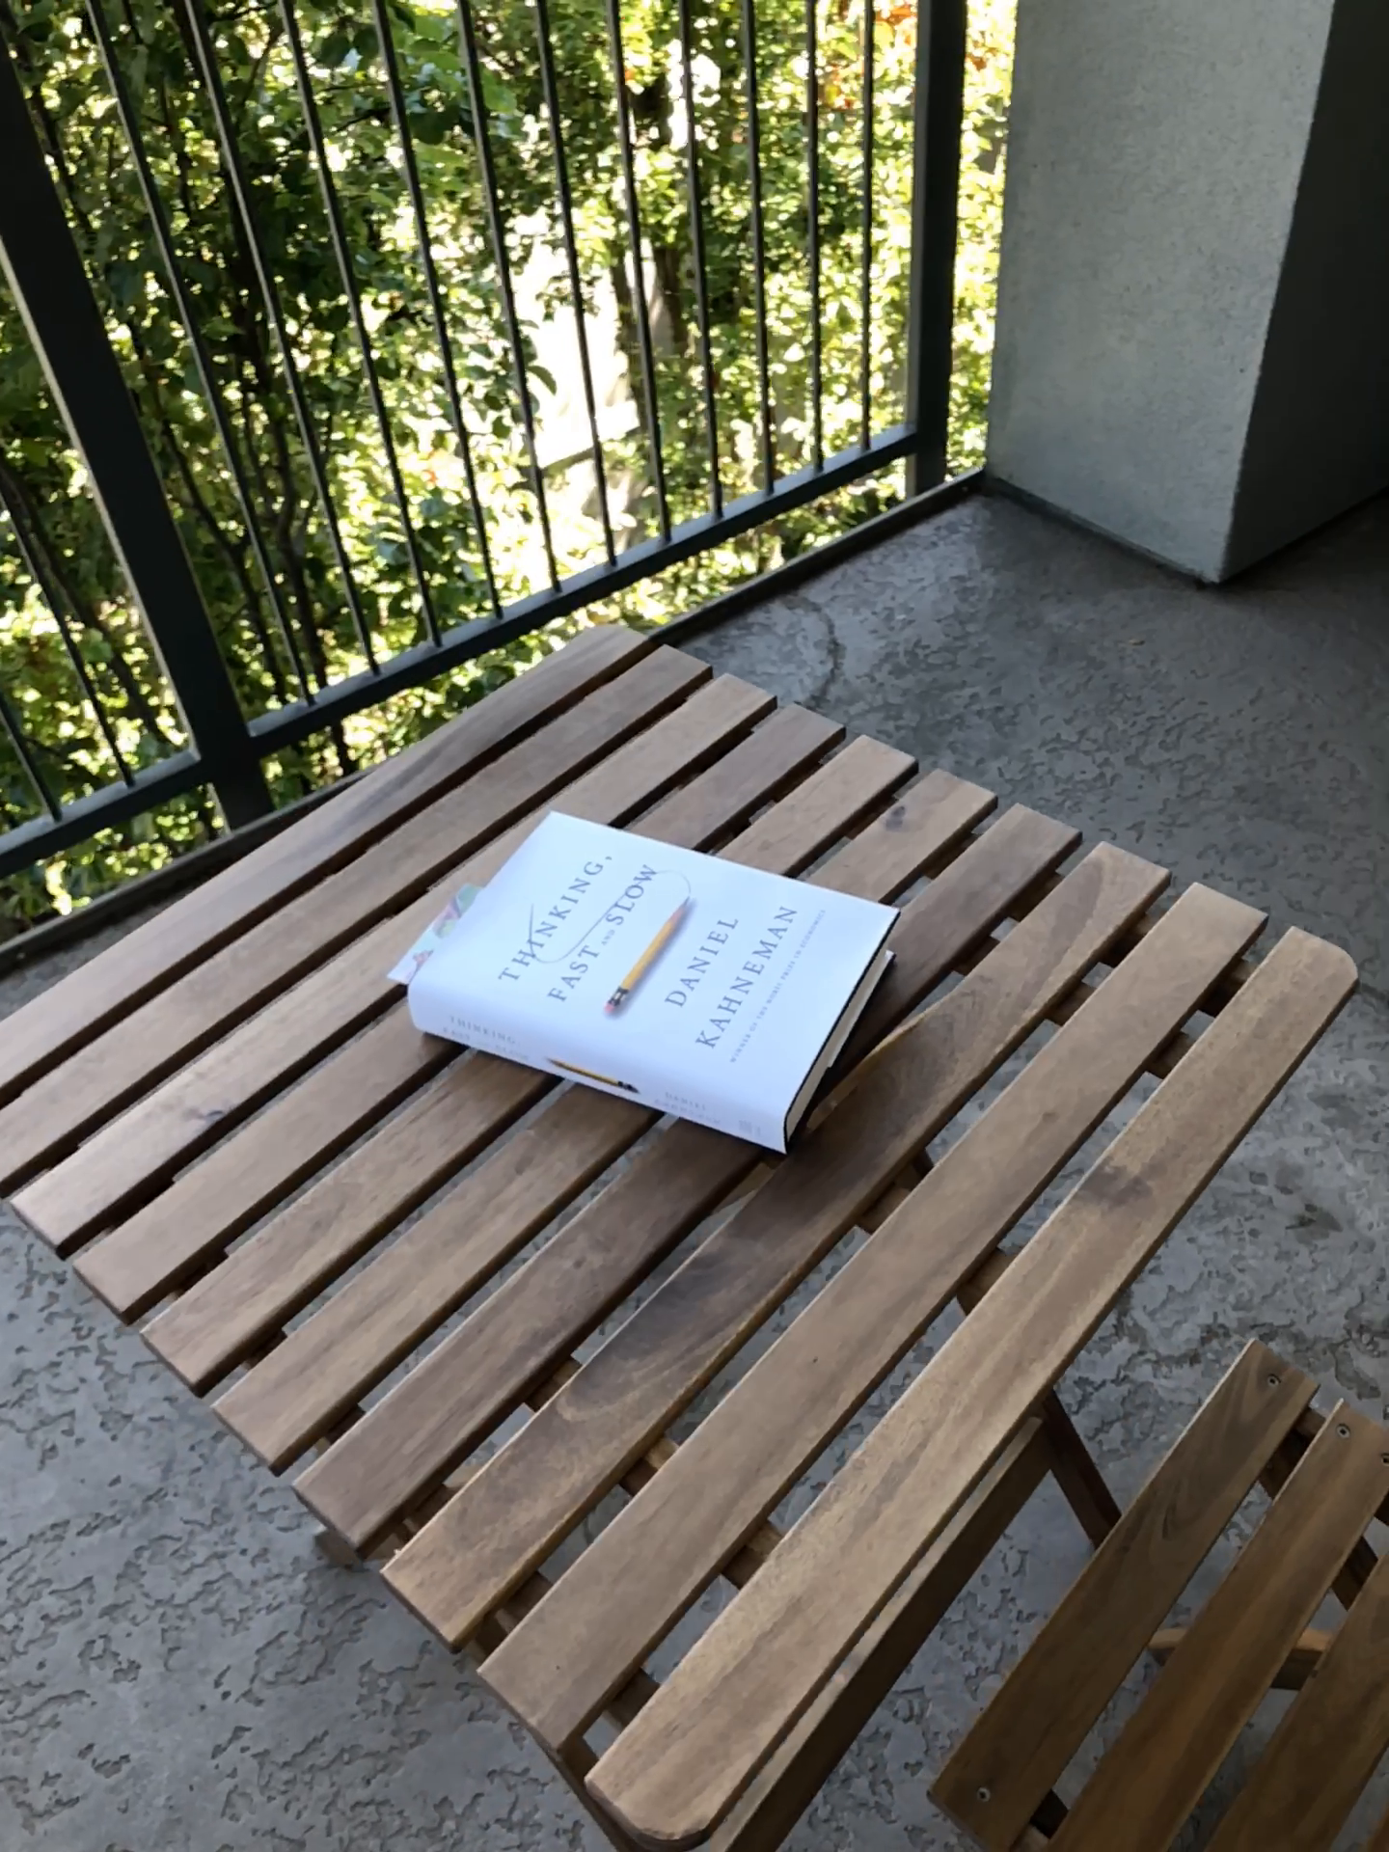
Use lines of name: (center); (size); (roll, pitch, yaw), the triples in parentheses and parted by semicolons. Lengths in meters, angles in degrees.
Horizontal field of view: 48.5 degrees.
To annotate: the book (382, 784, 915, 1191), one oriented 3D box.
book: (-0.021, 0.025, 0.872); (0.240, 0.060, 0.181); (16, 49, 21)
